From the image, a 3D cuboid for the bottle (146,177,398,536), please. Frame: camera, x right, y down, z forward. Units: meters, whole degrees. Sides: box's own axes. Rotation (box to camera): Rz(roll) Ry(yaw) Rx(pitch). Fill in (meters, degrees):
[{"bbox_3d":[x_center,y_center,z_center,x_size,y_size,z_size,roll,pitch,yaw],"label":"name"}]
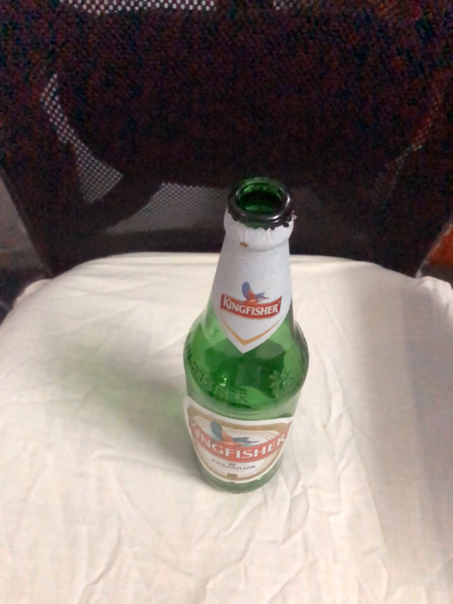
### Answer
[{"bbox_3d":[0.017,0.060,0.286,0.080,0.259,0.070,11,55,6],"label":"bottle"}]
